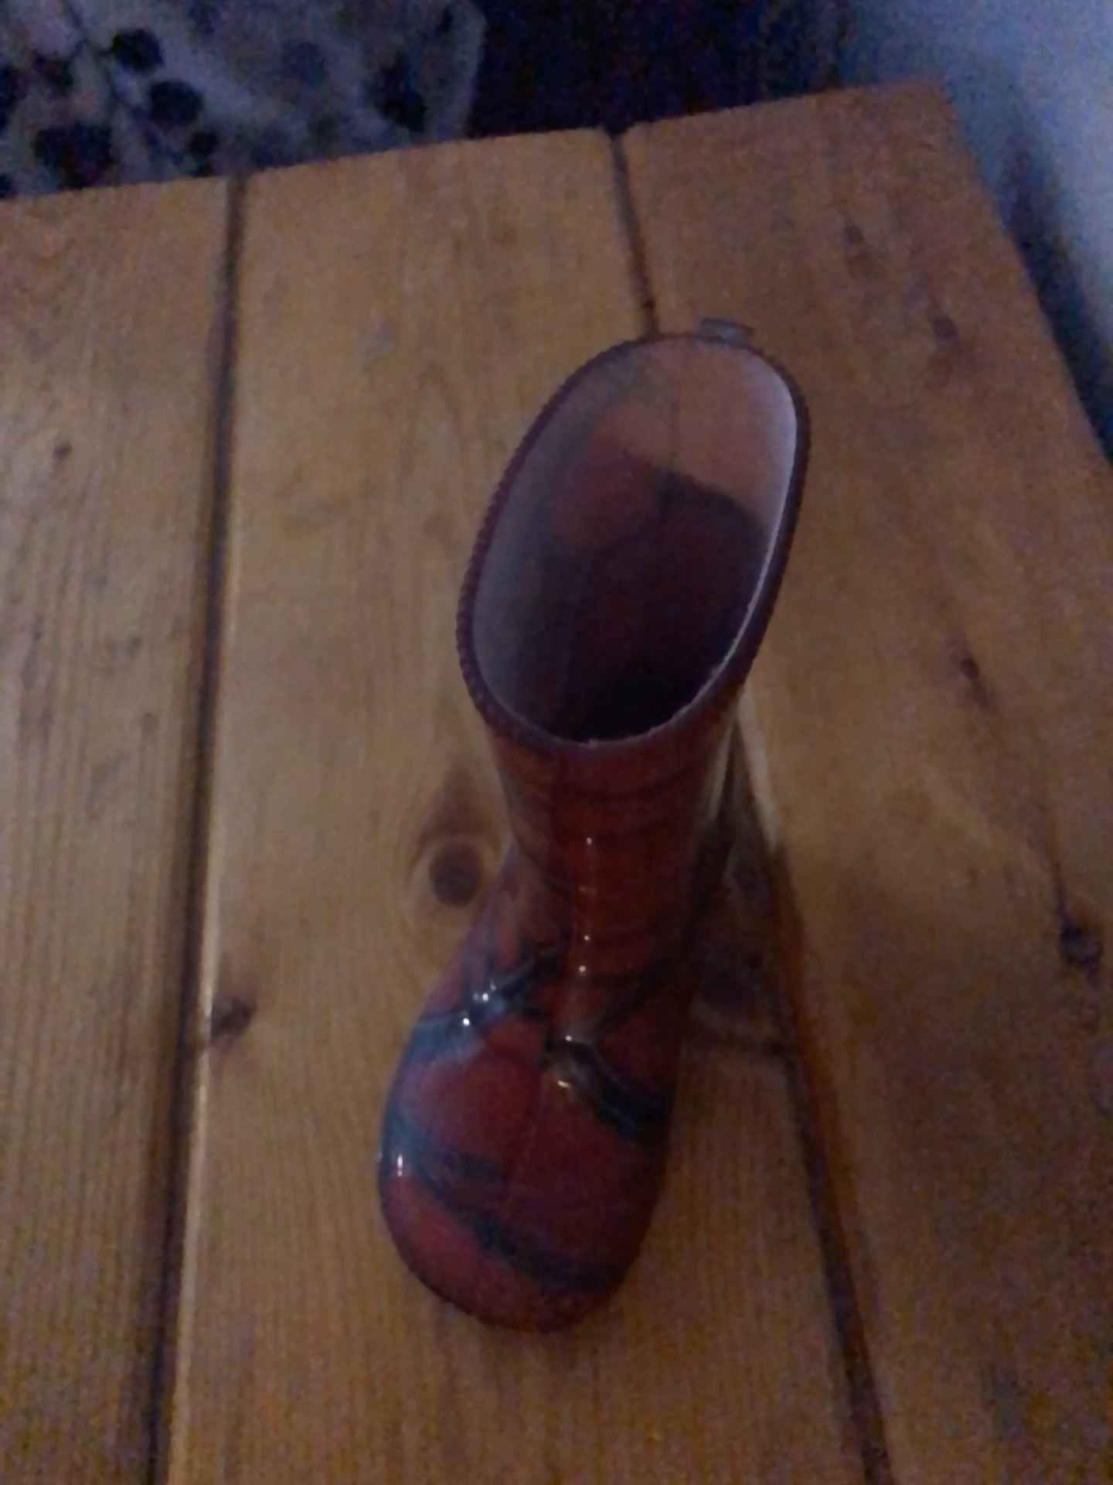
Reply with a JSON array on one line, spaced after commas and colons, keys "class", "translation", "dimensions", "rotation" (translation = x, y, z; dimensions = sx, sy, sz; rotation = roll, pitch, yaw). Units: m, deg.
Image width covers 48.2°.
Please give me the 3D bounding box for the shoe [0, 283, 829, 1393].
[{"class": "shoe", "translation": [-0.010, 0.031, 0.264], "dimensions": [0.080, 0.170, 0.160], "rotation": [15, 61, 14]}]
